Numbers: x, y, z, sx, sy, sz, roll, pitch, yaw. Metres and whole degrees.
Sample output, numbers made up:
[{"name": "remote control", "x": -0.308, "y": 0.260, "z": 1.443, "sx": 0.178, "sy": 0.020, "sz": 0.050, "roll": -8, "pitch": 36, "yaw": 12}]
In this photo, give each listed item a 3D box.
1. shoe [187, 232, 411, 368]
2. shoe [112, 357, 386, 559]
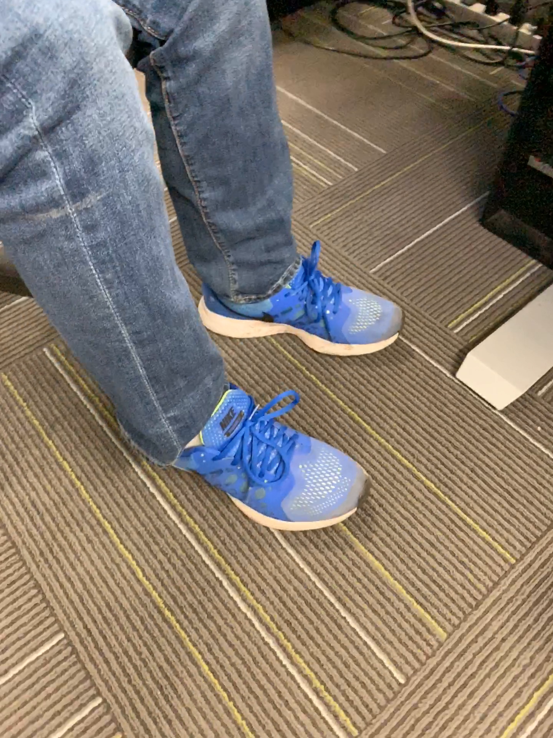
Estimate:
[{"name": "shoe", "x": 0.033, "y": -0.098, "z": 0.788, "sx": 0.279, "sy": 0.083, "sz": 0.117, "roll": 11, "pitch": 55, "yaw": 9}, {"name": "shoe", "x": -0.030, "y": 0.097, "z": 0.658, "sx": 0.279, "sy": 0.083, "sz": 0.117, "roll": 19, "pitch": 57, "yaw": 14}]
